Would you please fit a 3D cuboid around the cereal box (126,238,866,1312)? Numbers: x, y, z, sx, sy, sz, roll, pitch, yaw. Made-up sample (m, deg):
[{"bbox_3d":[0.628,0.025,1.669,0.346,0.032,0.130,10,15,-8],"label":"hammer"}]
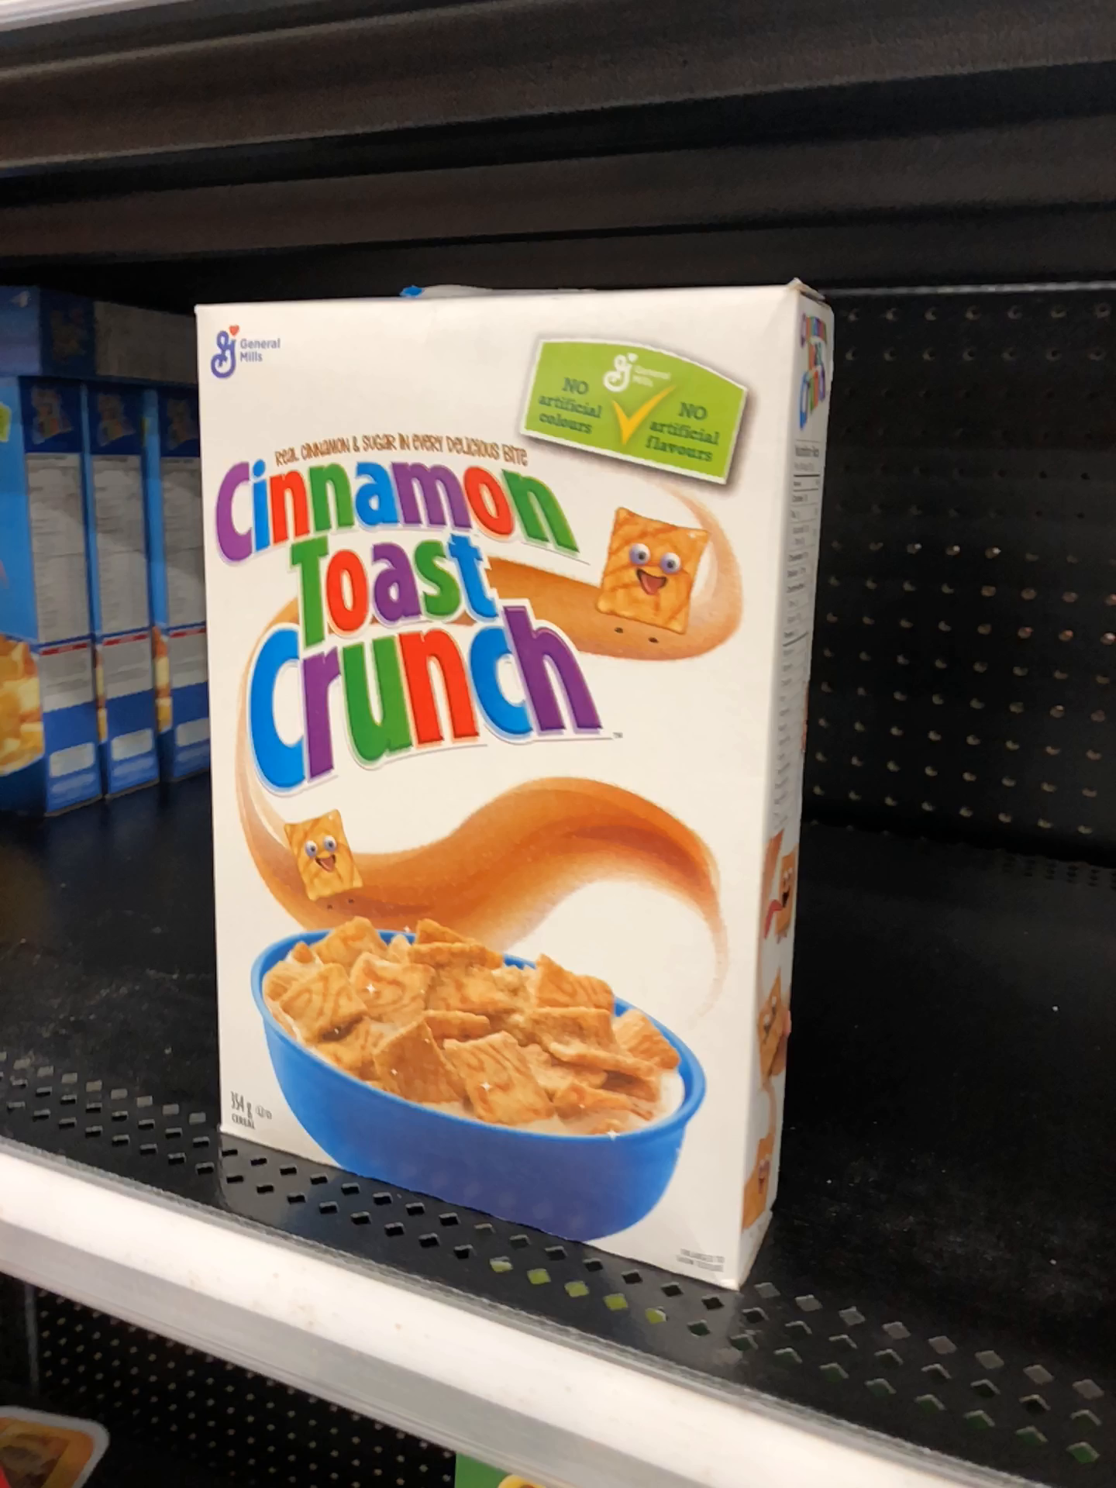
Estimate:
[{"bbox_3d":[-0.027,0.003,0.377,0.210,0.279,0.050,7,13,24],"label":"cereal box"}]
